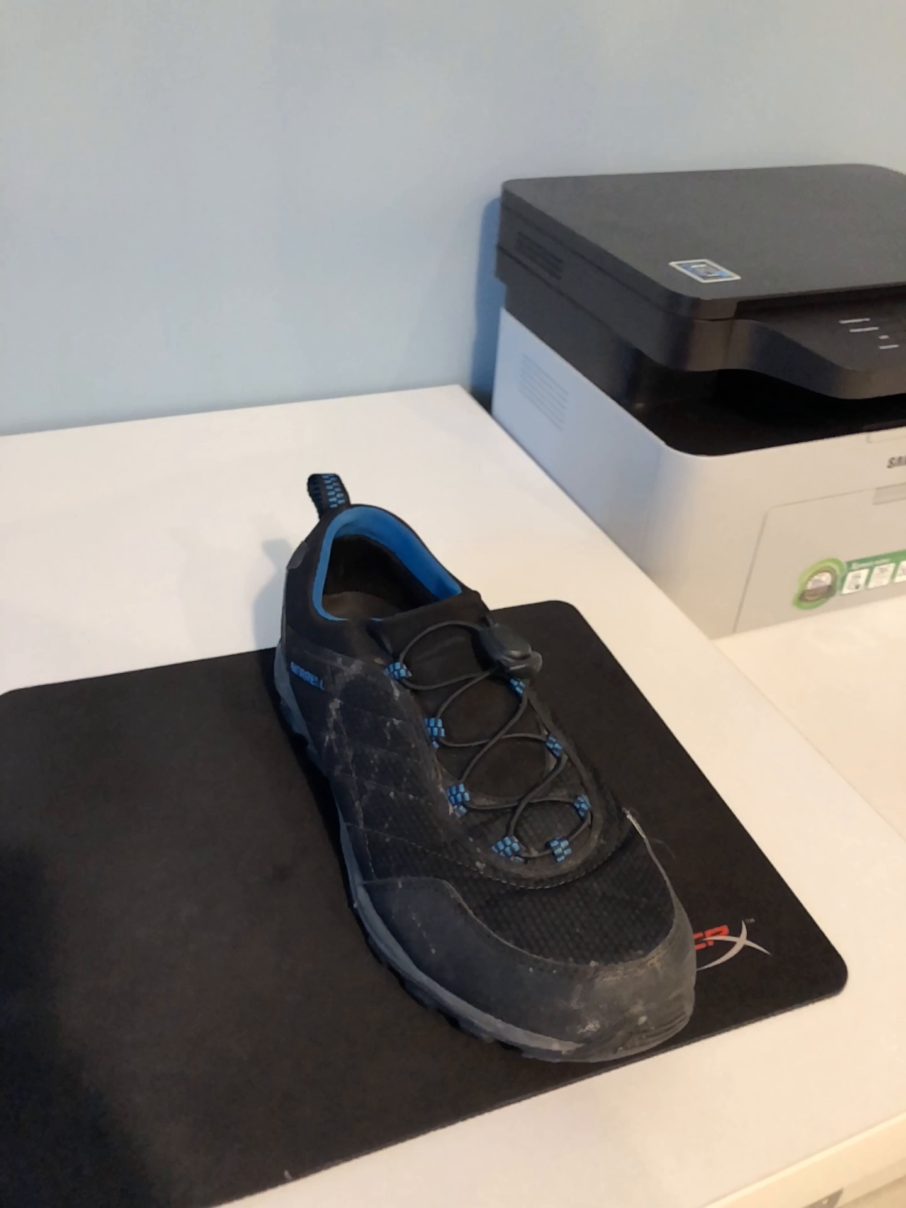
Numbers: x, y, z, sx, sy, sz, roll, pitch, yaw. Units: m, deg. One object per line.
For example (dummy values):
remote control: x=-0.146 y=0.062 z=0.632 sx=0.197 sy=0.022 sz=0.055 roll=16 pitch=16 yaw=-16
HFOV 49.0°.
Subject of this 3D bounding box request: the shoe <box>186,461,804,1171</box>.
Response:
shoe: x=-0.009 y=0.062 z=0.457 sx=0.130 sy=0.109 sz=0.301 roll=-15 pitch=40 yaw=-25
